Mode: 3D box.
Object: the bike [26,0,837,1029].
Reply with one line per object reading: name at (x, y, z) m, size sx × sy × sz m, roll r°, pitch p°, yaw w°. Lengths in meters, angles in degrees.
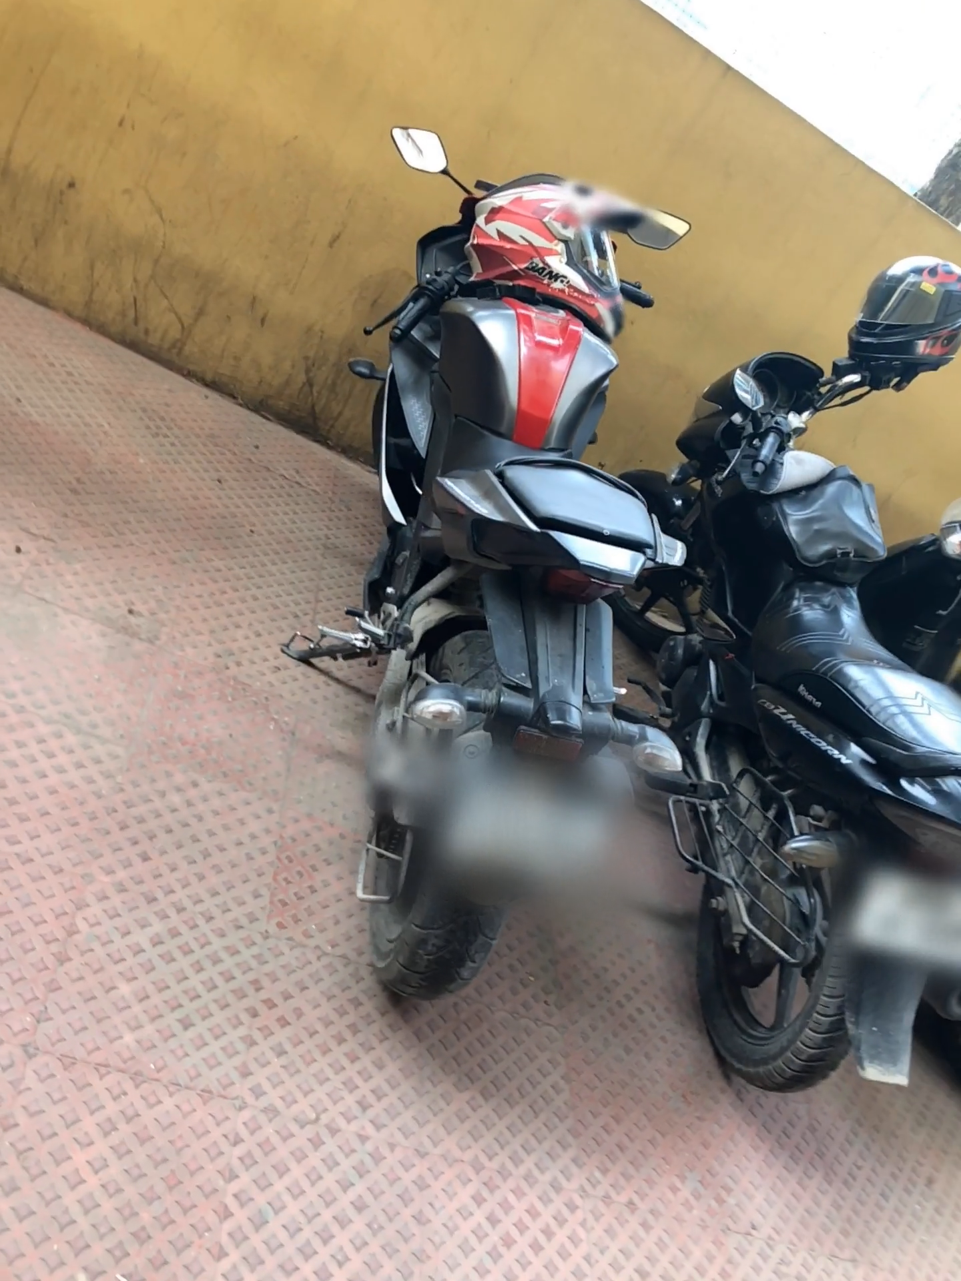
bike at (-0.208, -0.427, 2.012) m, size 0.725 × 0.870 × 1.753 m, roll 20°, pitch 36°, yaw -25°
